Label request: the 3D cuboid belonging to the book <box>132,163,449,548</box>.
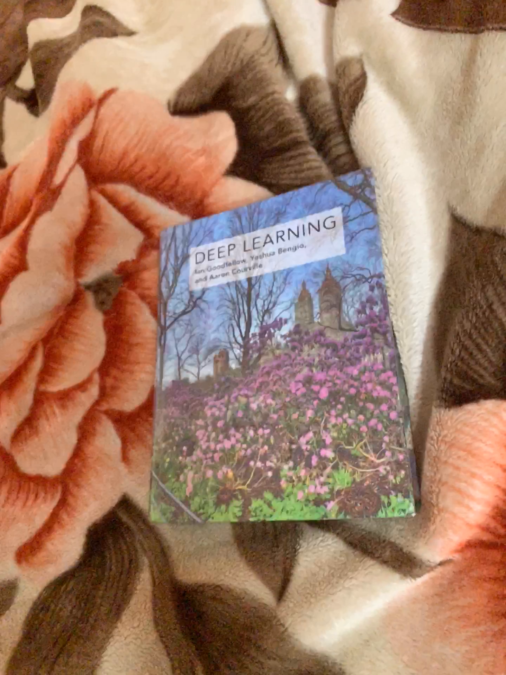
[{"bbox_3d":[0.014,0.015,0.392,0.211,0.030,0.261,-10,67,22],"label":"book"}]
